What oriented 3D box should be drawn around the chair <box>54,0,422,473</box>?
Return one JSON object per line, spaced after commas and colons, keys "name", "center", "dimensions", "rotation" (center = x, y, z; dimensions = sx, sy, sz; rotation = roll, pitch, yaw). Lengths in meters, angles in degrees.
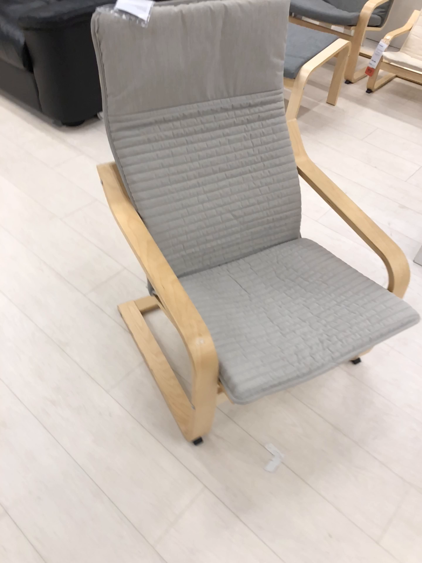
{"name": "chair", "center": [0.140, -0.173, 1.211], "dimensions": [0.731, 0.997, 0.702], "rotation": [-18, 51, -20]}
